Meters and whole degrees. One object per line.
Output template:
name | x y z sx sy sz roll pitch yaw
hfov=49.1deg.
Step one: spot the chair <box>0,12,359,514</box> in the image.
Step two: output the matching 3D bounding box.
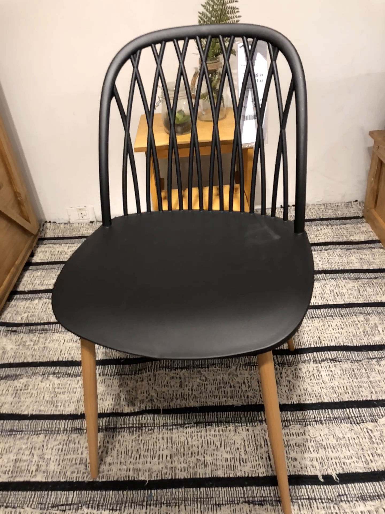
chair | -0.009 0.014 0.819 0.470 0.774 0.544 3 35 13
